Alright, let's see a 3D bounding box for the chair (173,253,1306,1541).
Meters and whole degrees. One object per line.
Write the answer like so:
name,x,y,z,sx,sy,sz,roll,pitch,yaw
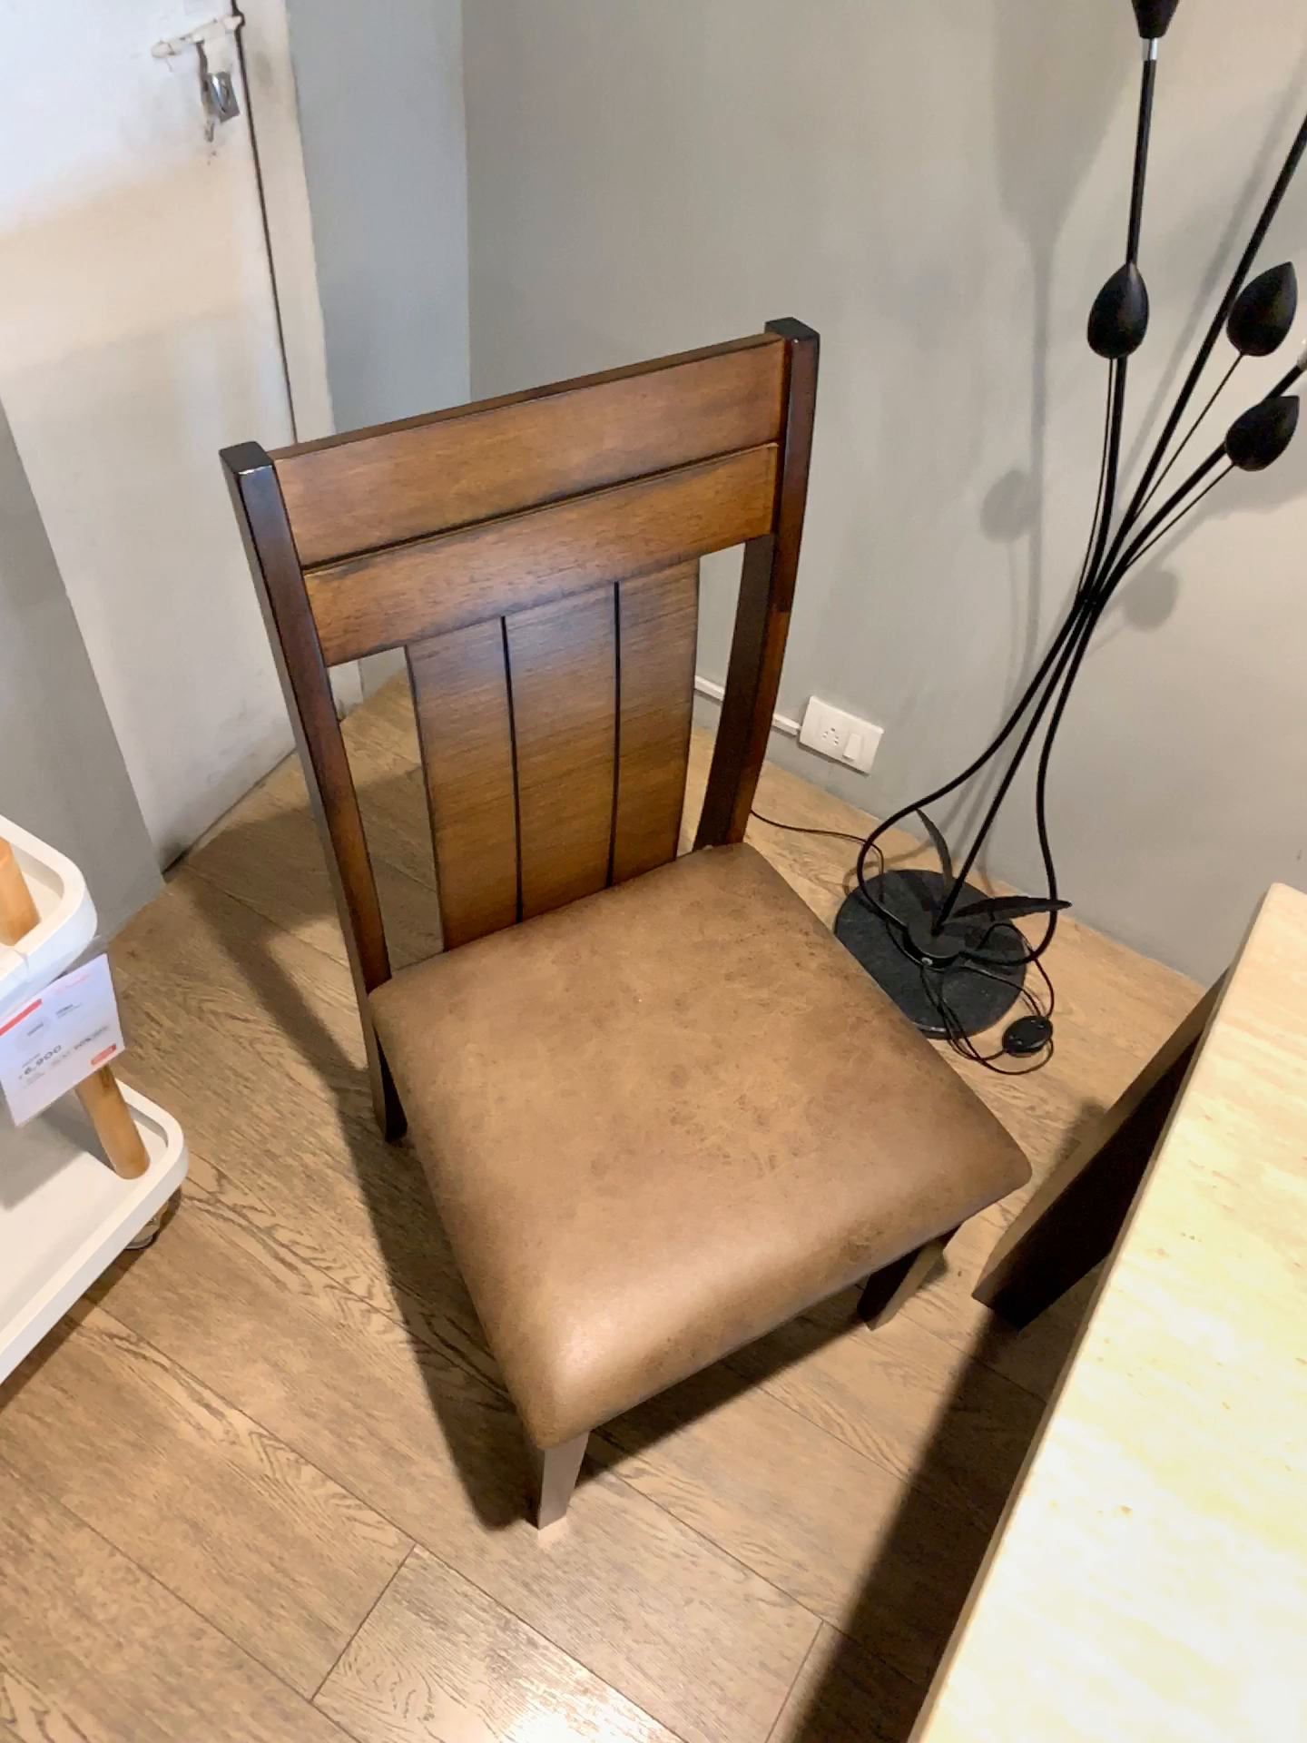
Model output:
chair,0.006,0.108,1.198,0.510,0.997,0.551,-22,59,-21
